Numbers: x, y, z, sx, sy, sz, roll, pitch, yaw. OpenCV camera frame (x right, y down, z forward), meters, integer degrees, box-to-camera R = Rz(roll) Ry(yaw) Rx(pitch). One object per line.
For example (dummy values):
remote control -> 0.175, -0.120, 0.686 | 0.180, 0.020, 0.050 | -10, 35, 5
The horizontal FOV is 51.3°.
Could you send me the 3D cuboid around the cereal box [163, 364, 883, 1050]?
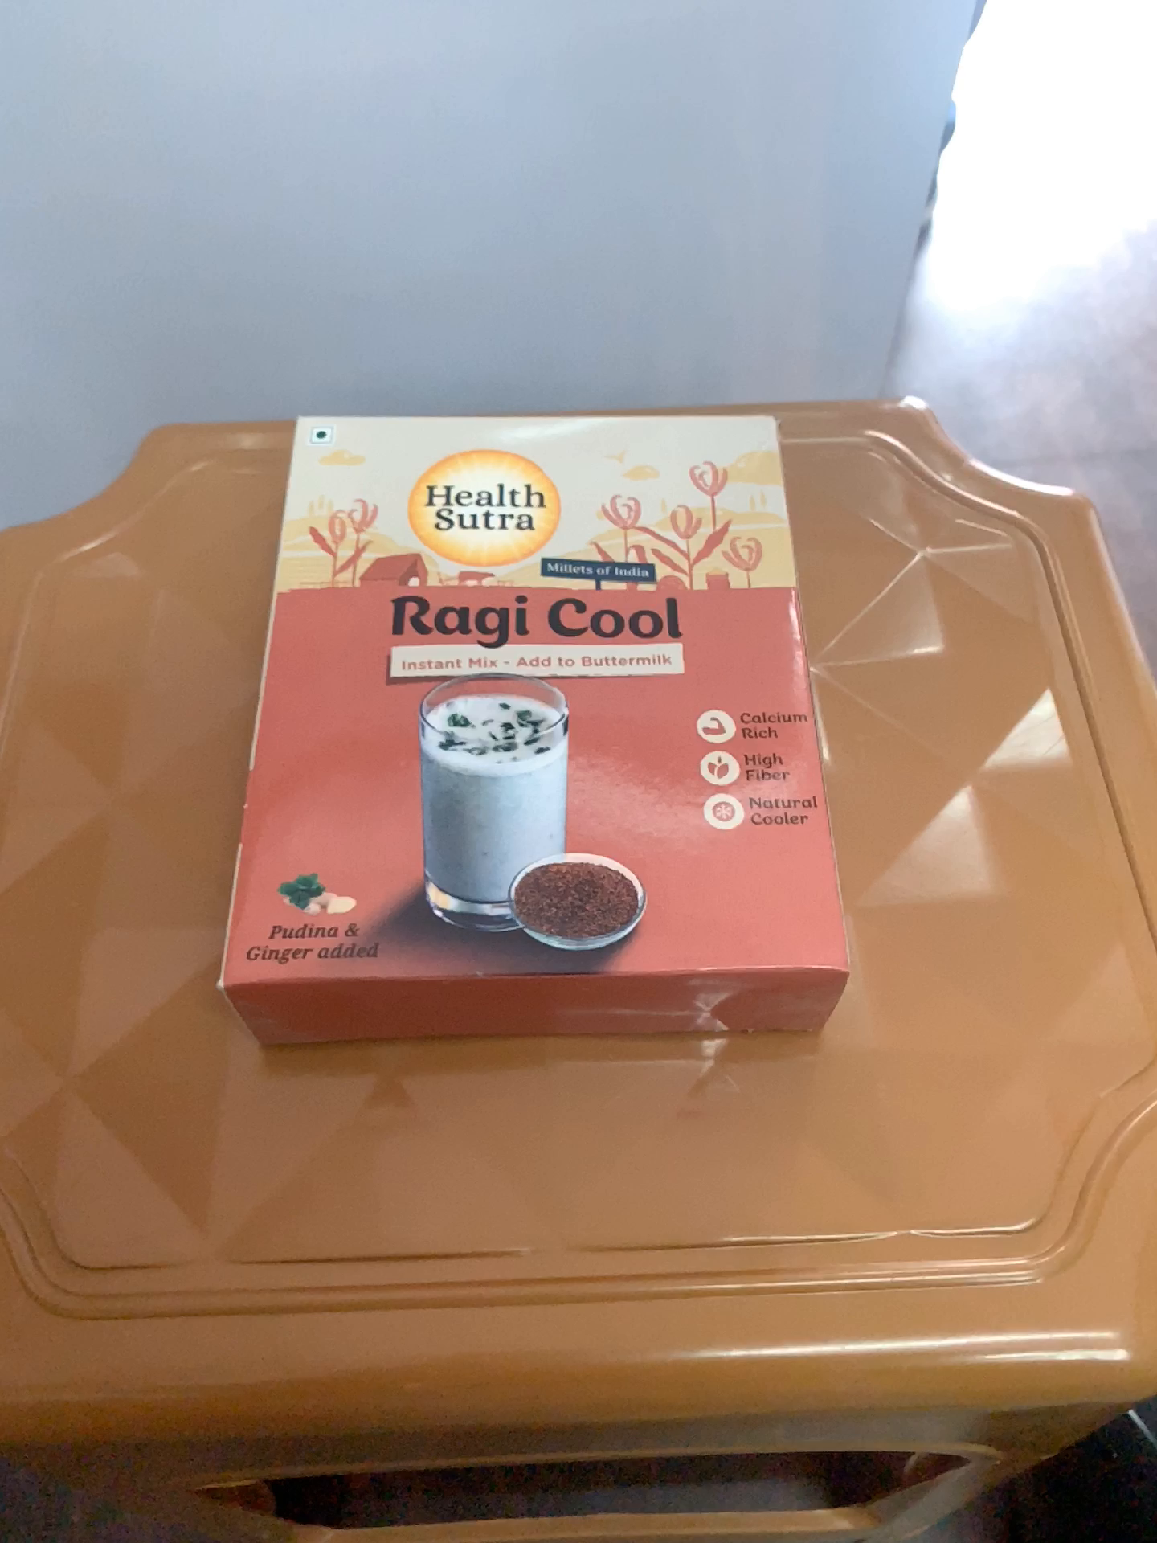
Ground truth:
cereal box -> -0.012, -0.023, 0.294 | 0.140, 0.040, 0.170 | -1, 59, 0
